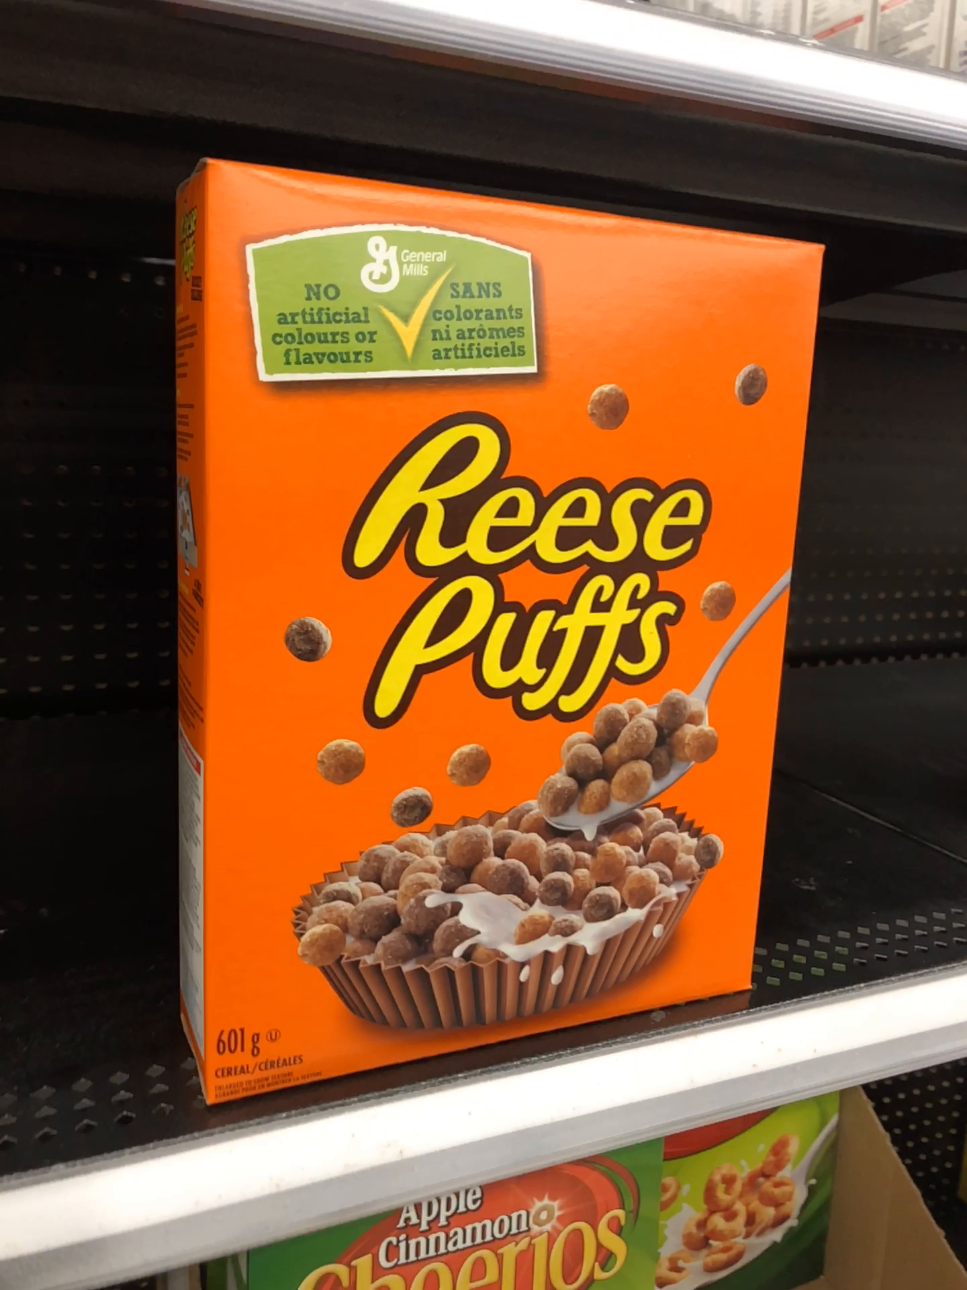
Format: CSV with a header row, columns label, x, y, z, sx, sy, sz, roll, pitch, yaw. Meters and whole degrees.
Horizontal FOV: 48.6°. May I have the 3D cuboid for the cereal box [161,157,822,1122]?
label,x,y,z,sx,sy,sz,roll,pitch,yaw
cereal box,0.003,-0.002,0.429,0.240,0.319,0.070,-3,12,-25
